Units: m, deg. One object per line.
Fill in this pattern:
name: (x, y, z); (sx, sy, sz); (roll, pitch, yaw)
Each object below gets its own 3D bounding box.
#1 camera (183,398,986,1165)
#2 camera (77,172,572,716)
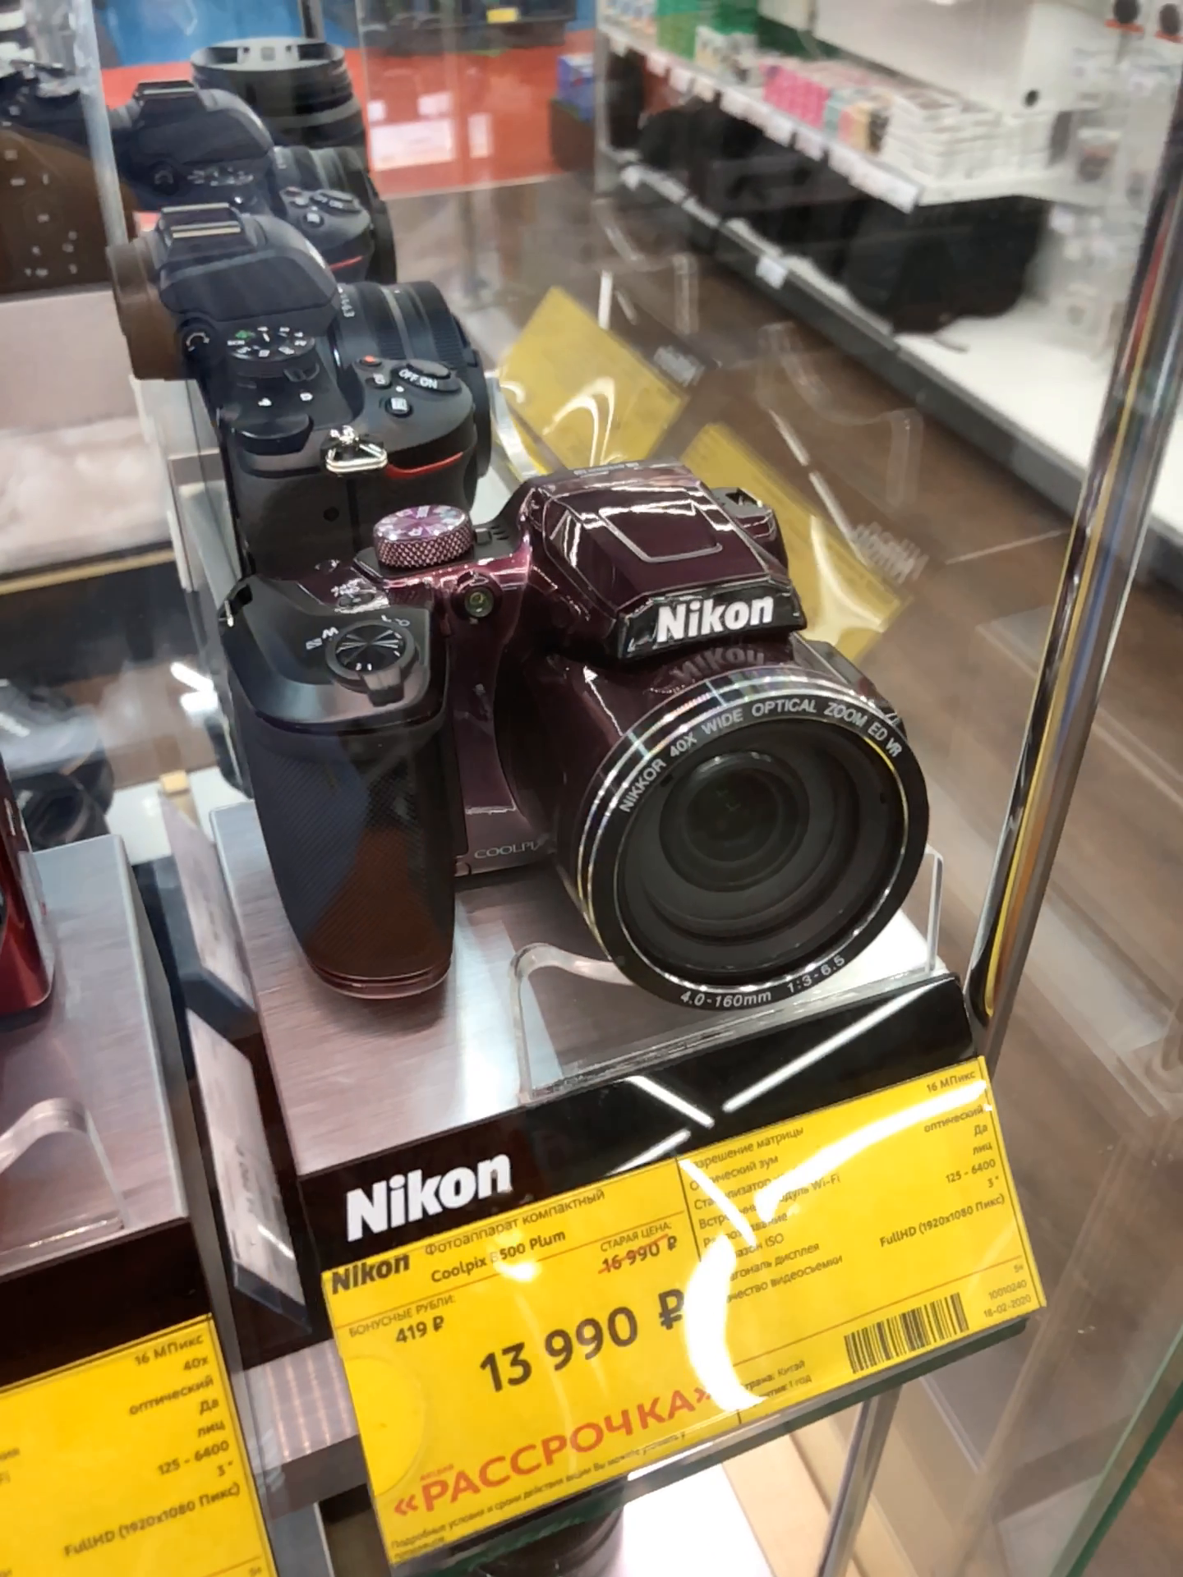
camera: (-0.008, -0.009, 0.248); (0.109, 0.080, 0.100); (-13, 41, -15)
camera: (-0.074, -0.101, 0.357); (0.100, 0.084, 0.134); (-12, 41, -15)
